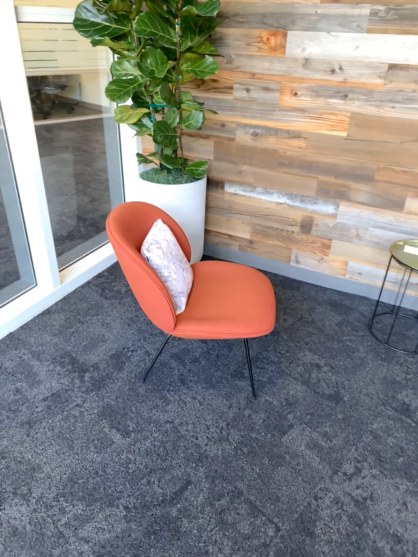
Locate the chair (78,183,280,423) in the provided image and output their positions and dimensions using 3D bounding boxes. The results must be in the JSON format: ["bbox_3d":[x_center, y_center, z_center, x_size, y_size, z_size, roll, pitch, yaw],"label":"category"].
[{"bbox_3d":[-0.088,0.079,1.965,0.700,0.795,0.704,4,31,4],"label":"chair"}]
